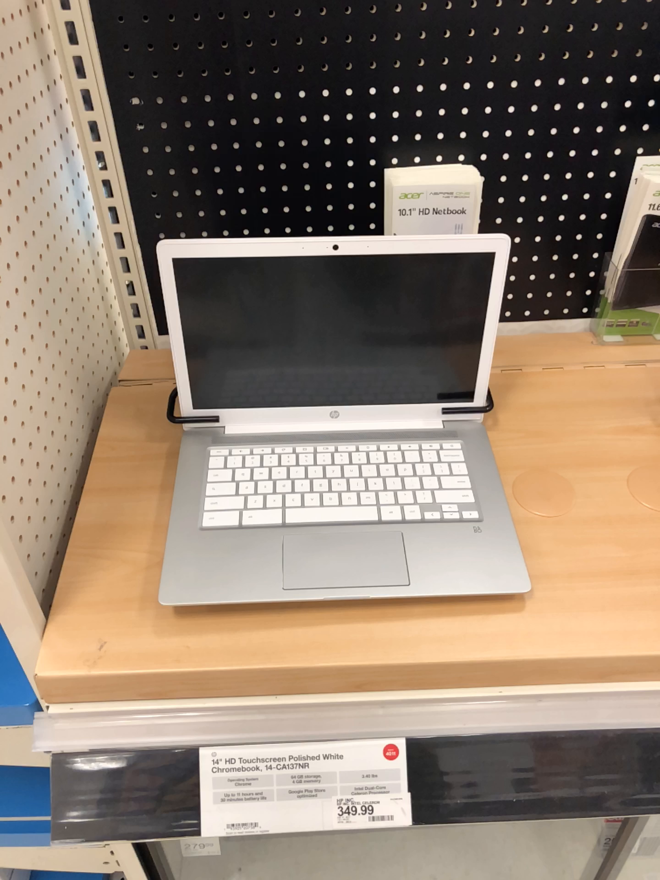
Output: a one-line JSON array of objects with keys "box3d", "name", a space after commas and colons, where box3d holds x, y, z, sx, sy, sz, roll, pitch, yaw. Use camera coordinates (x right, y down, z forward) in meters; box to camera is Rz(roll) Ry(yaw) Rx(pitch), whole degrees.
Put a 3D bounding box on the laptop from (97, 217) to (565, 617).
[{"box3d": [0.000, -0.034, 0.673, 0.333, 0.198, 0.281, -3, 43, -3], "name": "laptop"}]
